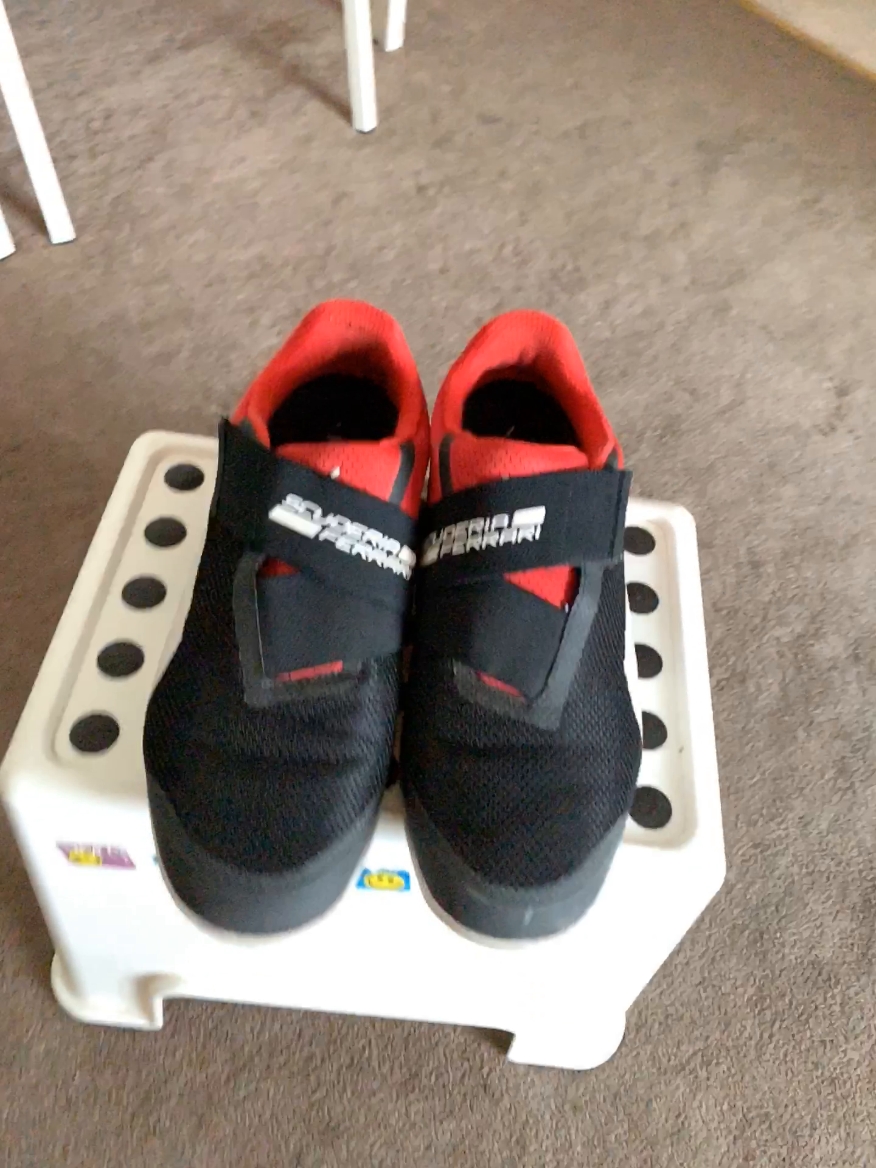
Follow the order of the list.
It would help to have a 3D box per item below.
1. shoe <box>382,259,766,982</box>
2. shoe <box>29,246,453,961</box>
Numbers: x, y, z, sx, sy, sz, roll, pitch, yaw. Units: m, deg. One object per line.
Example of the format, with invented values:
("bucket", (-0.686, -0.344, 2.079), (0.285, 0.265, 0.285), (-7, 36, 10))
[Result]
("shoe", (0.045, -0.002, 0.390), (0.110, 0.089, 0.302), (6, 55, -4))
("shoe", (-0.062, -0.011, 0.394), (0.100, 0.089, 0.302), (8, 55, -2))
